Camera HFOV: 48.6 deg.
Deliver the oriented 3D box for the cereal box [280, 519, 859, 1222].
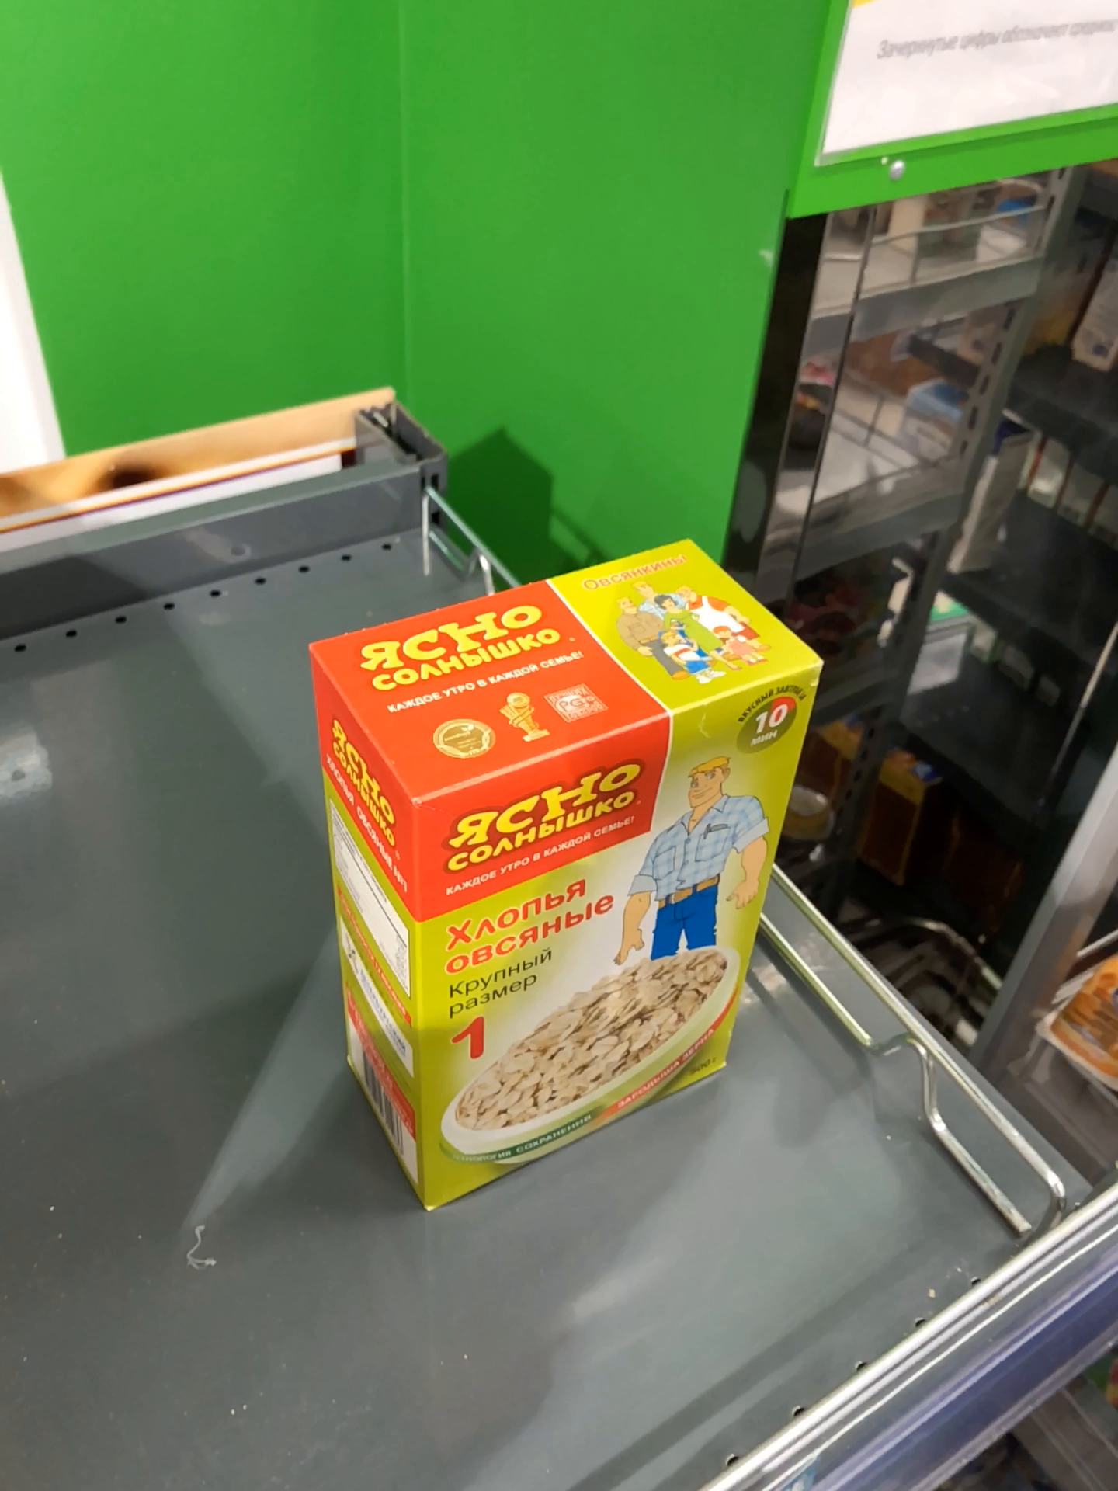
[{"bbox_3d":[-0.002,0.041,0.385,0.130,0.179,0.080,-19,47,-24],"label":"cereal box"}]
